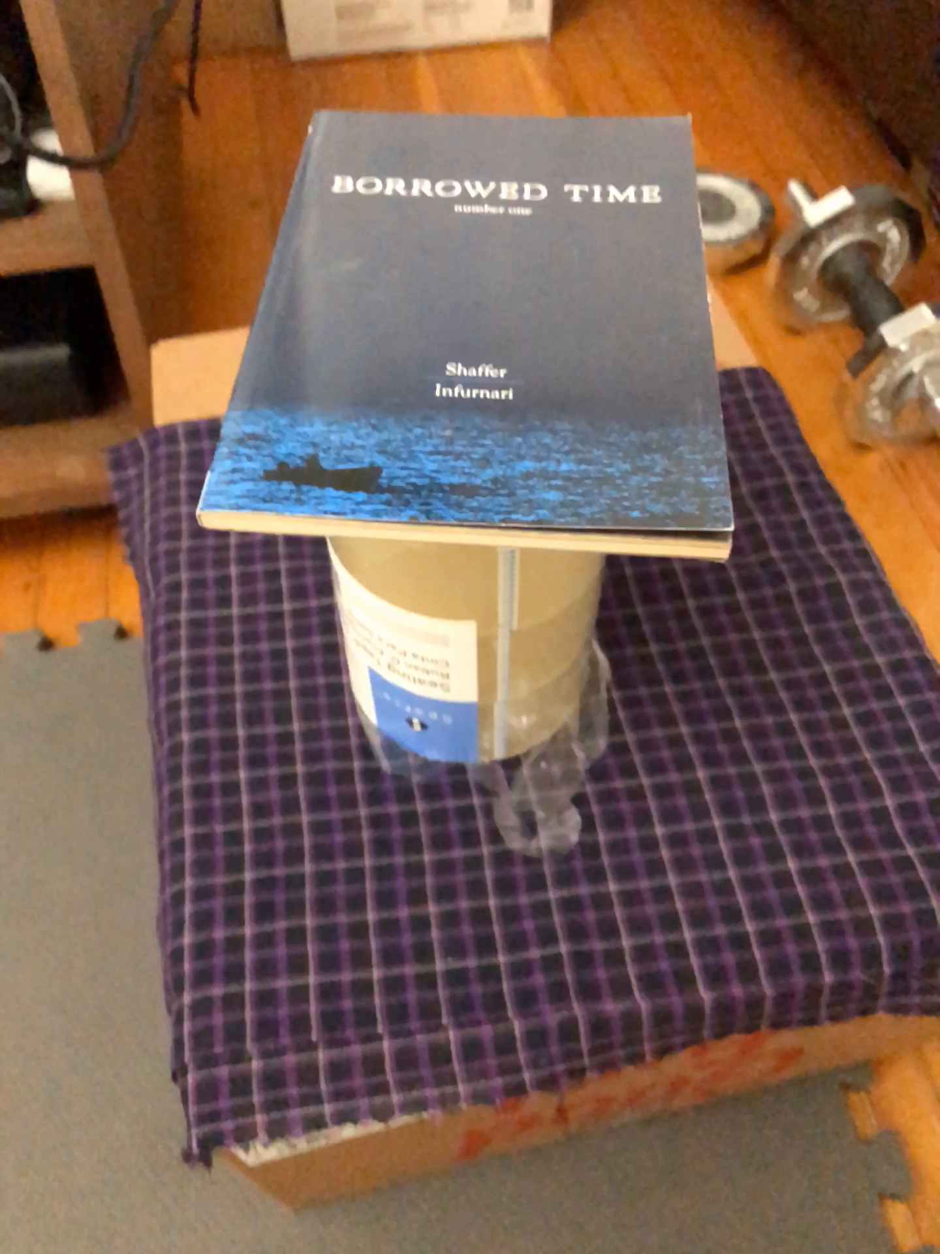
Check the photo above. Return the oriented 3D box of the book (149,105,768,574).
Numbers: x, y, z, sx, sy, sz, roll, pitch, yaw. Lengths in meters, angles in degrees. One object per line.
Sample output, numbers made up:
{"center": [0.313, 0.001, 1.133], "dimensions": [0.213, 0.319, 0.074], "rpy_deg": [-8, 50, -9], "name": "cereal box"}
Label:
{"center": [0.003, -0.111, 0.345], "dimensions": [0.160, 0.010, 0.231], "rpy_deg": [3, 52, 3], "name": "book"}
